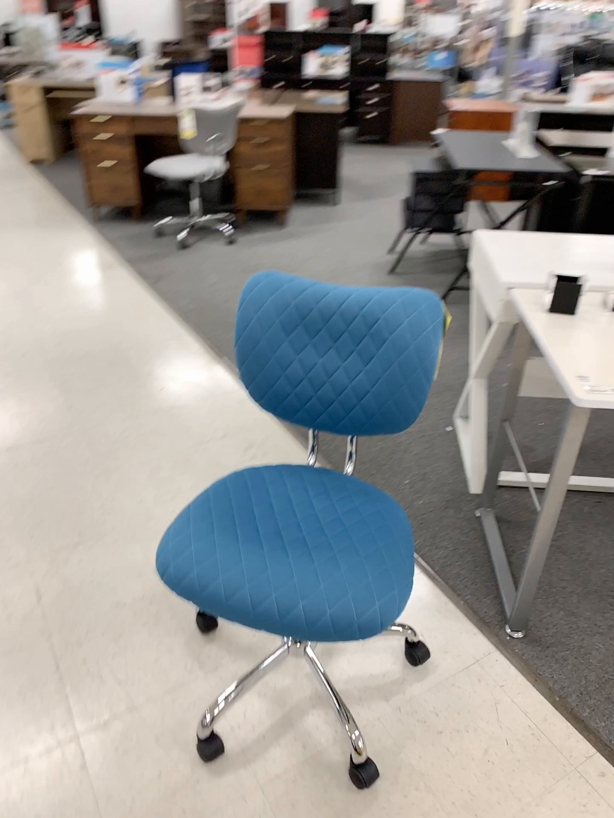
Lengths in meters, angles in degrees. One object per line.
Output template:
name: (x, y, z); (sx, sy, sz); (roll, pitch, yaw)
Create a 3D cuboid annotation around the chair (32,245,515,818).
chair: (-0.004, 0.223, 1.291); (0.610, 0.876, 0.633); (13, 34, 17)
